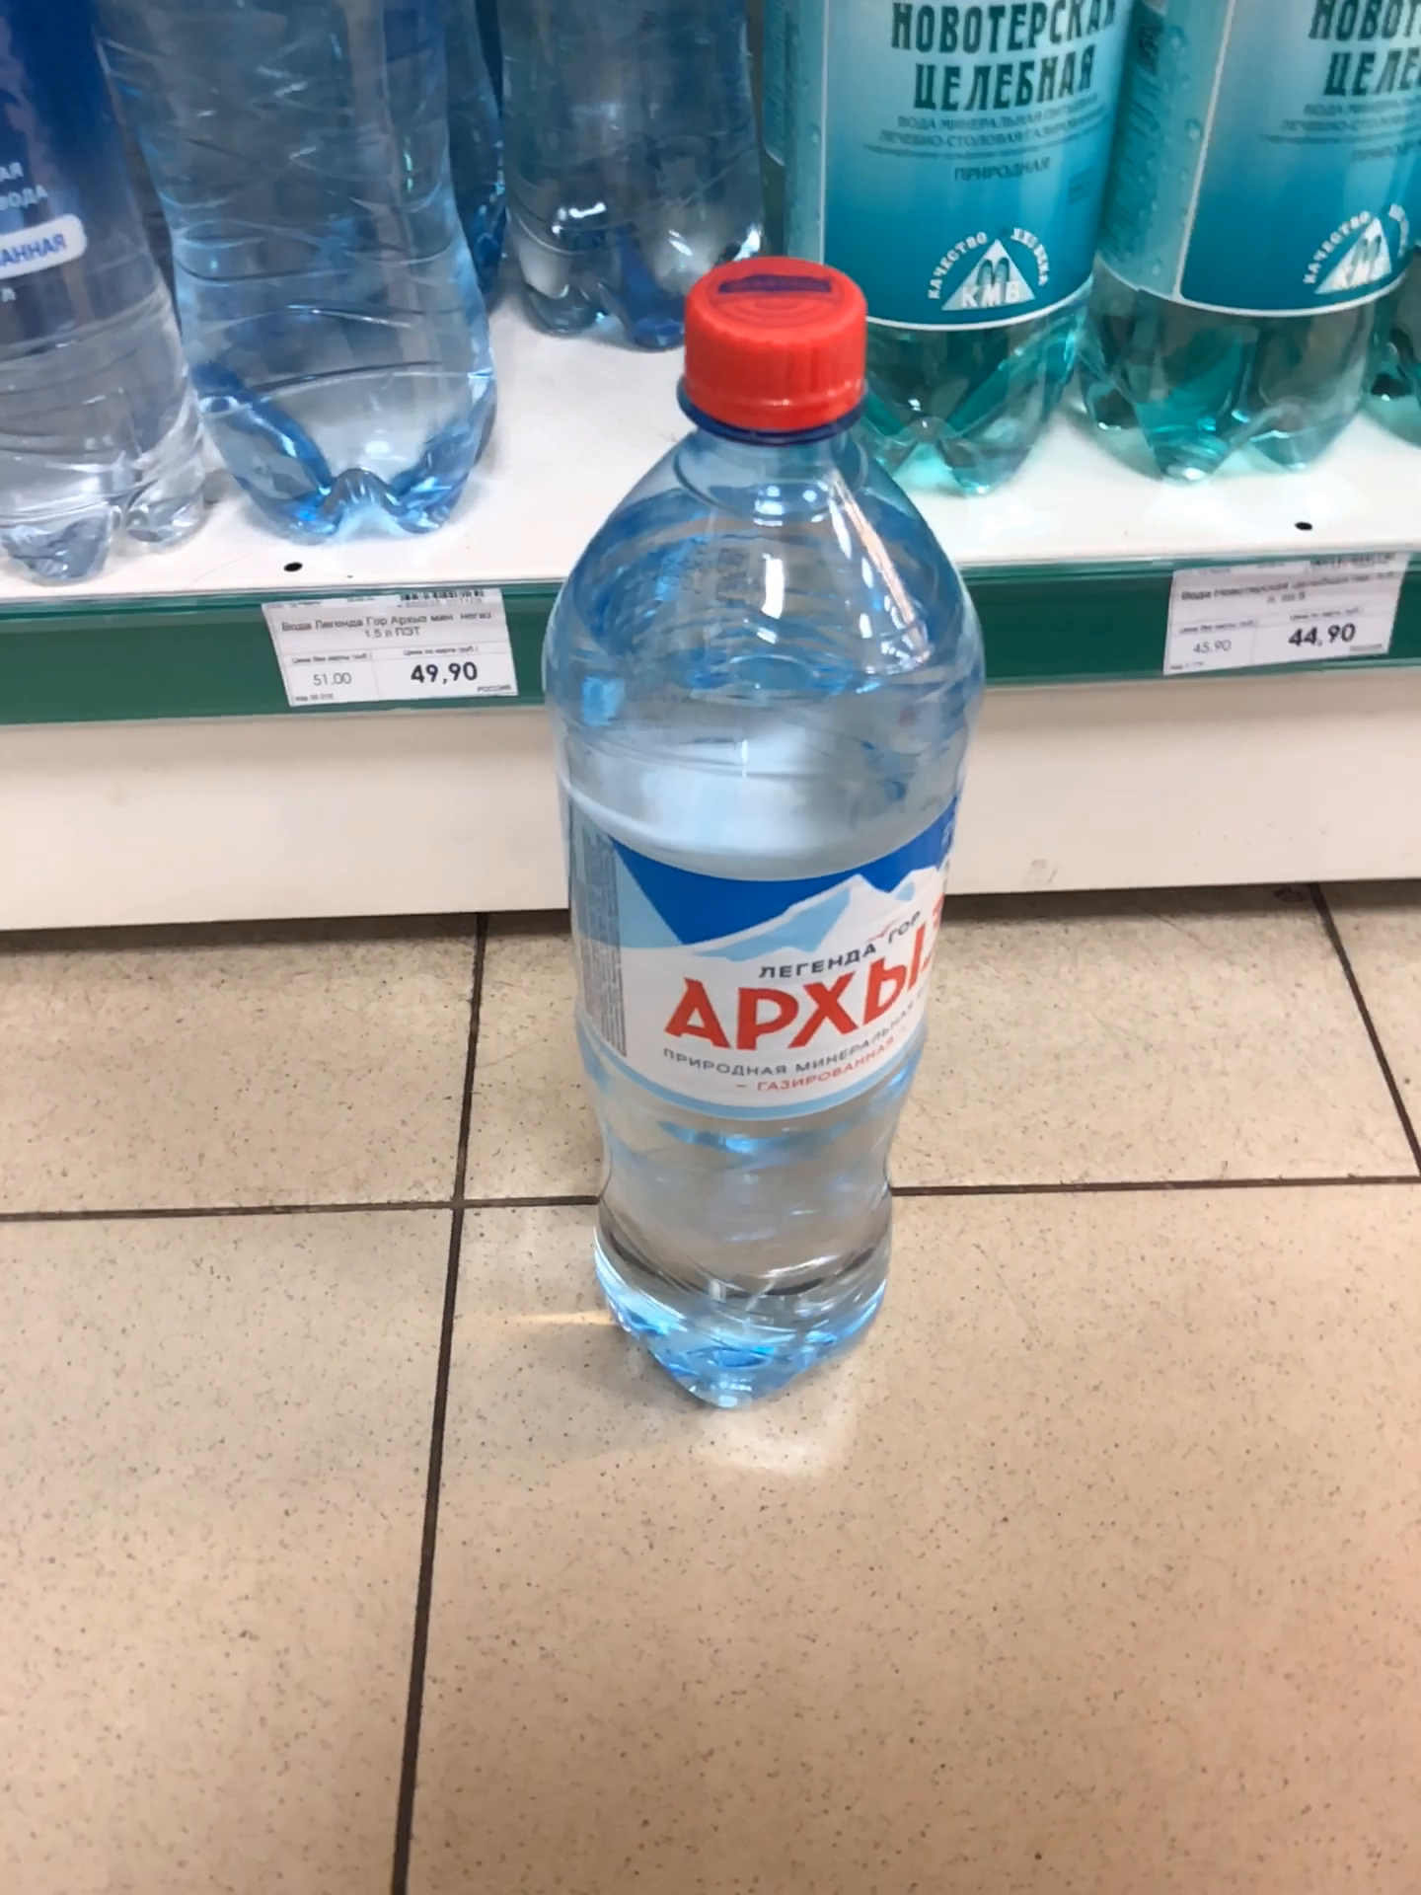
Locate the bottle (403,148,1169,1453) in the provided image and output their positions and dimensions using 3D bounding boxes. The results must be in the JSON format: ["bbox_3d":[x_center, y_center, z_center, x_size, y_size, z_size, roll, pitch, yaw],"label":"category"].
[{"bbox_3d":[0.009,-0.002,0.362,0.094,0.305,0.086,0,49,0],"label":"bottle"}]
